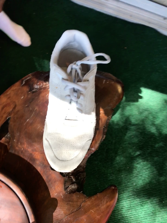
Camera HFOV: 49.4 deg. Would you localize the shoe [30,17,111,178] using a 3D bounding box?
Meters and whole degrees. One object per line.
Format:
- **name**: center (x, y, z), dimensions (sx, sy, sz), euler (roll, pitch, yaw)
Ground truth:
- **shoe**: center (-0.019, -0.025, 0.338), dimensions (0.102, 0.091, 0.264), euler (9, 73, -9)
